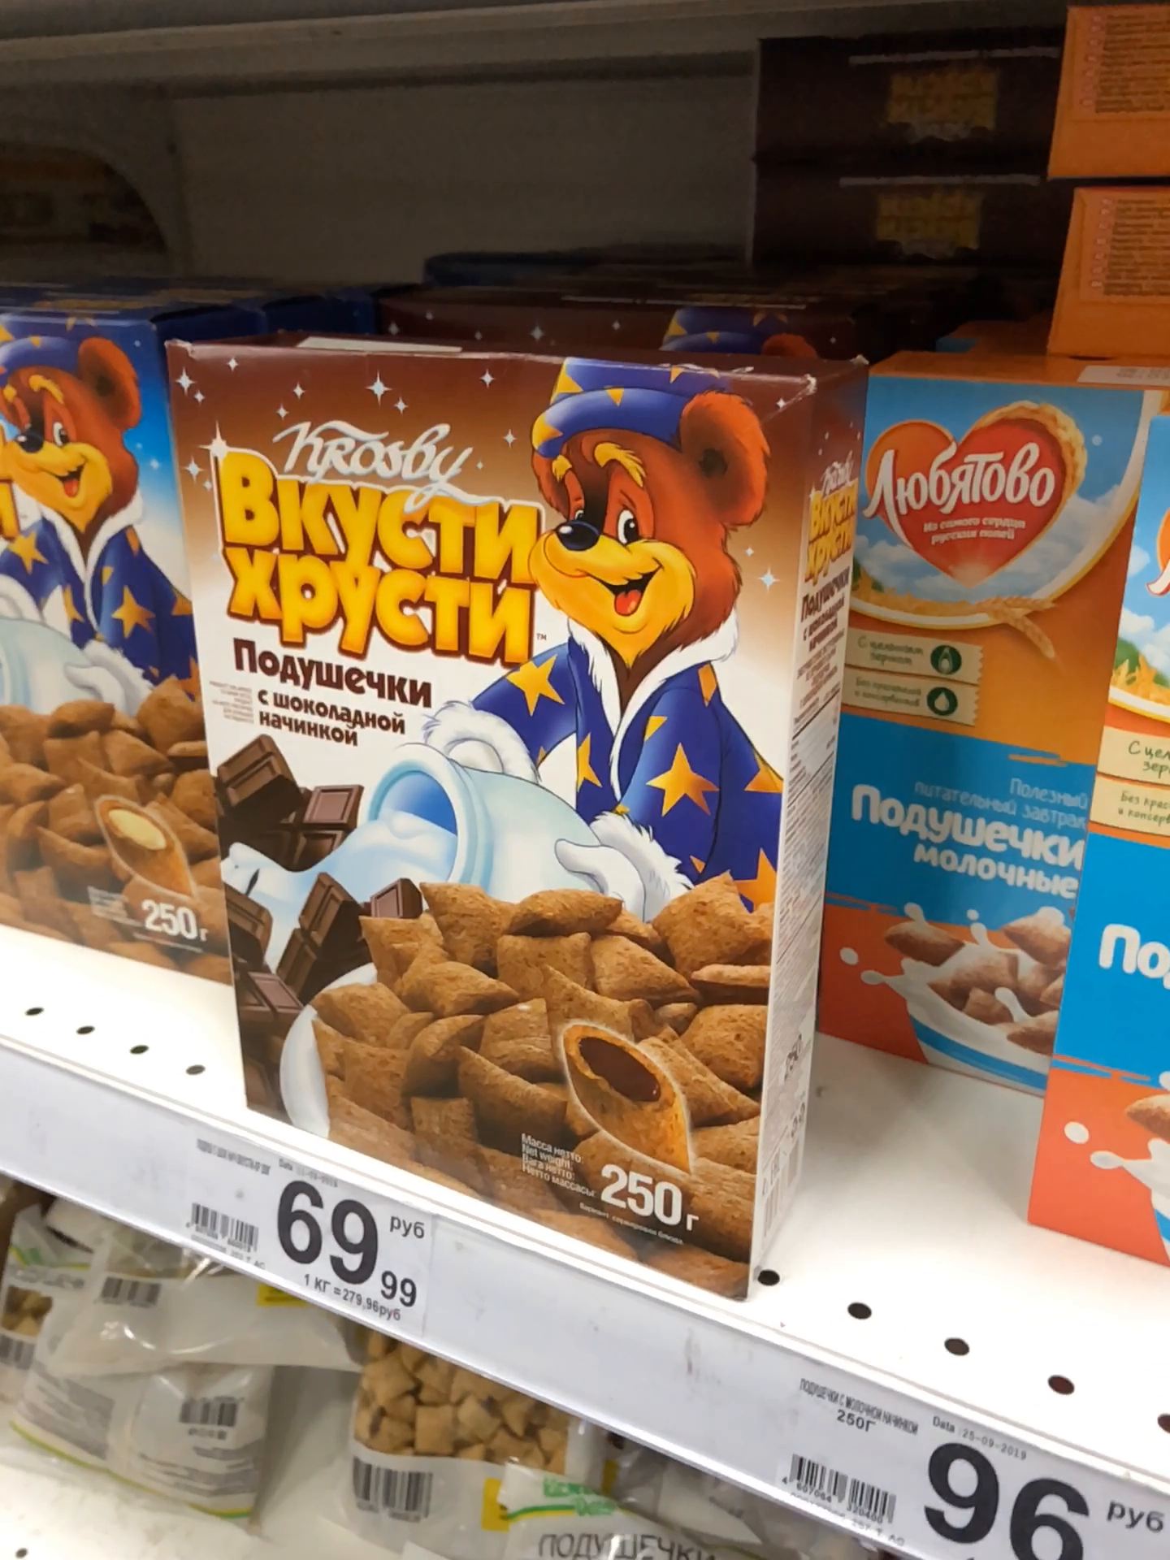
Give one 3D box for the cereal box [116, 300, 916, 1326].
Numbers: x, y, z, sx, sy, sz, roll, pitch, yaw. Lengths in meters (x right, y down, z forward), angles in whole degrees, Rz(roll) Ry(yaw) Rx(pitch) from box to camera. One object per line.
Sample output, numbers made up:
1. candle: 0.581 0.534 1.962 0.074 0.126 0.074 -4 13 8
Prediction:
1. cereal box: -0.023 0.002 0.335 0.180 0.229 0.050 12 25 26
